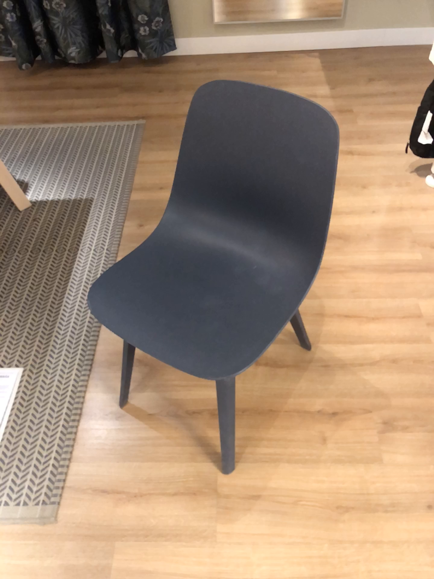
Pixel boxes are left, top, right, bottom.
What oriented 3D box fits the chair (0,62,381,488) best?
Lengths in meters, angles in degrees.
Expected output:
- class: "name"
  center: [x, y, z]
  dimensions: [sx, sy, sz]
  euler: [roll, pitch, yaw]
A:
- class: "chair"
  center: [-0.009, -0.027, 1.158]
  dimensions: [0.470, 0.728, 0.561]
  euler: [25, 53, 24]
